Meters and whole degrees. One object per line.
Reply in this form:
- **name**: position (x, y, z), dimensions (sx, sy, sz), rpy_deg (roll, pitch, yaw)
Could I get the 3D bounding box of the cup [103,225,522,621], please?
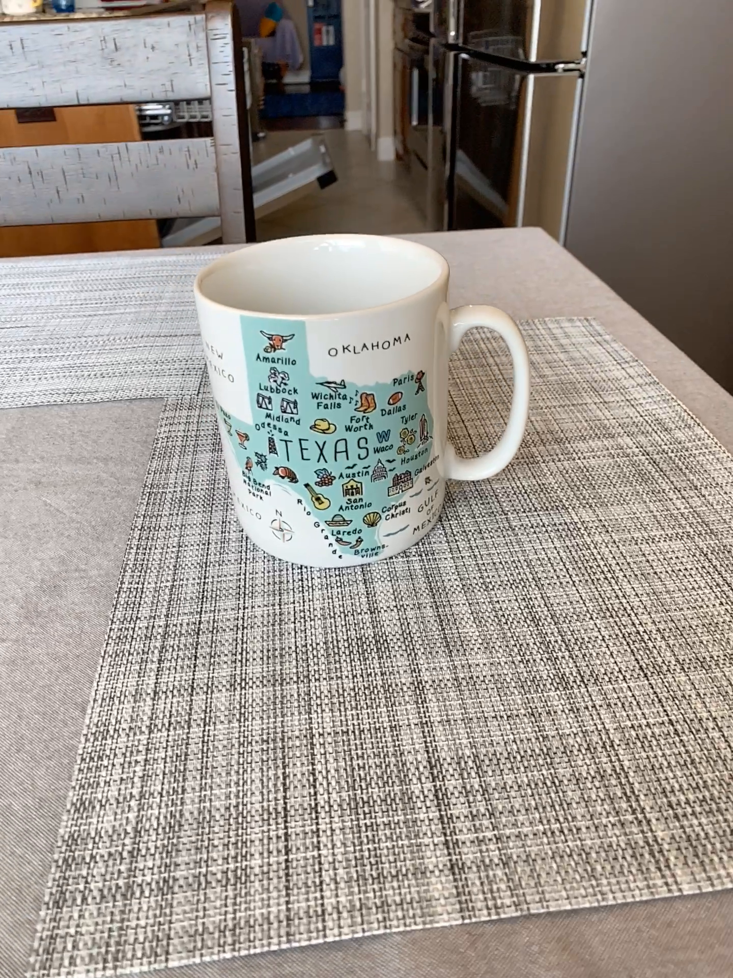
- **cup**: position (-0.012, -0.037, 0.353), dimensions (0.150, 0.136, 0.112), rpy_deg (6, 34, 11)
